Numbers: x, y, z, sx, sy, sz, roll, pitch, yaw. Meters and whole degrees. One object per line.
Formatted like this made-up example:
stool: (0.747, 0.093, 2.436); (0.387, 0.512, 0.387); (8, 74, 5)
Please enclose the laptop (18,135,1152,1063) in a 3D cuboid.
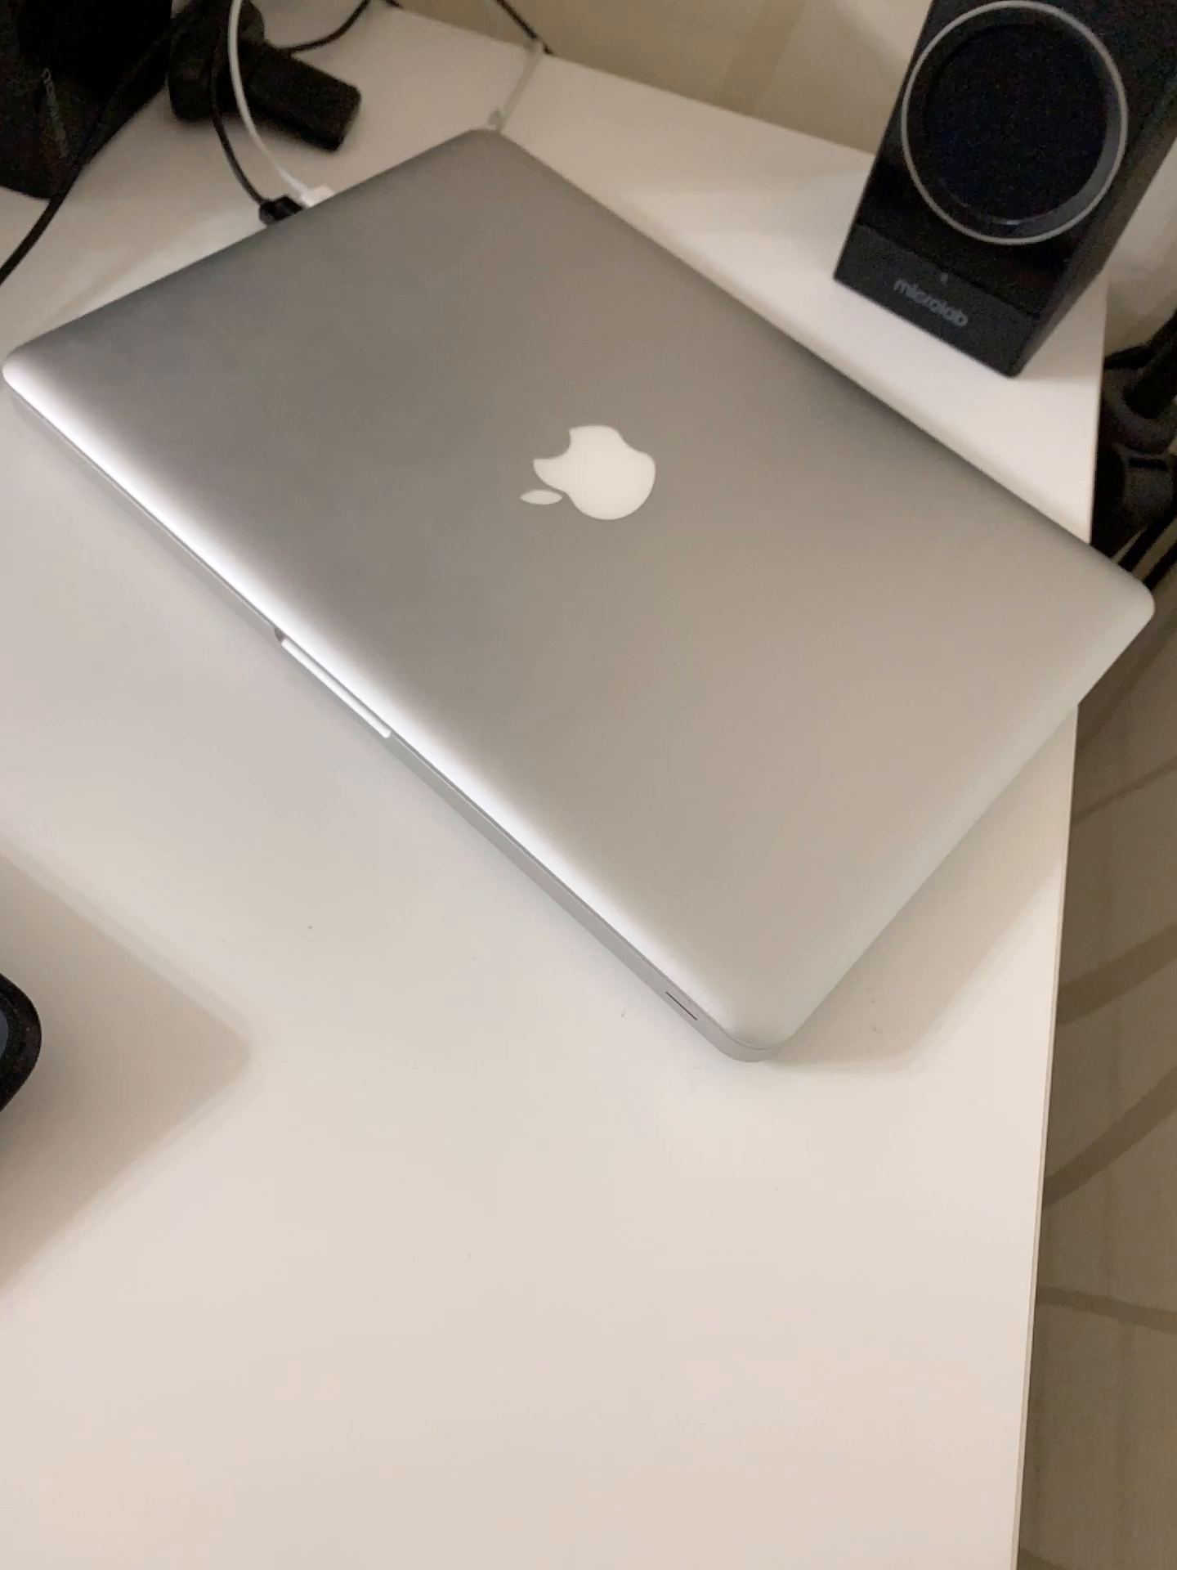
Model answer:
laptop: (0.005, -0.092, 0.400); (0.305, 0.007, 0.218); (41, 63, 13)
